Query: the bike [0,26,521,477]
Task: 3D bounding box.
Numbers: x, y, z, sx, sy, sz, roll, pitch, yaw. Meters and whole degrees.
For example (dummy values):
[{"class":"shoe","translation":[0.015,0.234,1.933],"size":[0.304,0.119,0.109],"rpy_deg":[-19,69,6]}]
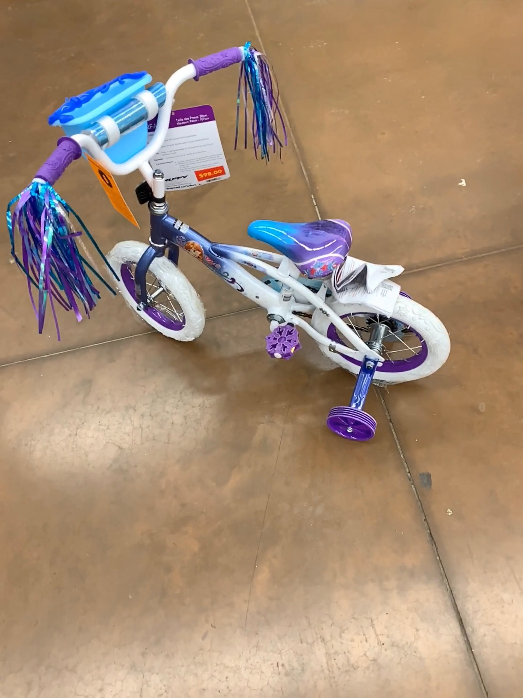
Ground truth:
[{"class":"bike","translation":[0.026,-0.148,1.011],"size":[0.651,0.643,0.473],"rpy_deg":[10,59,16]}]
